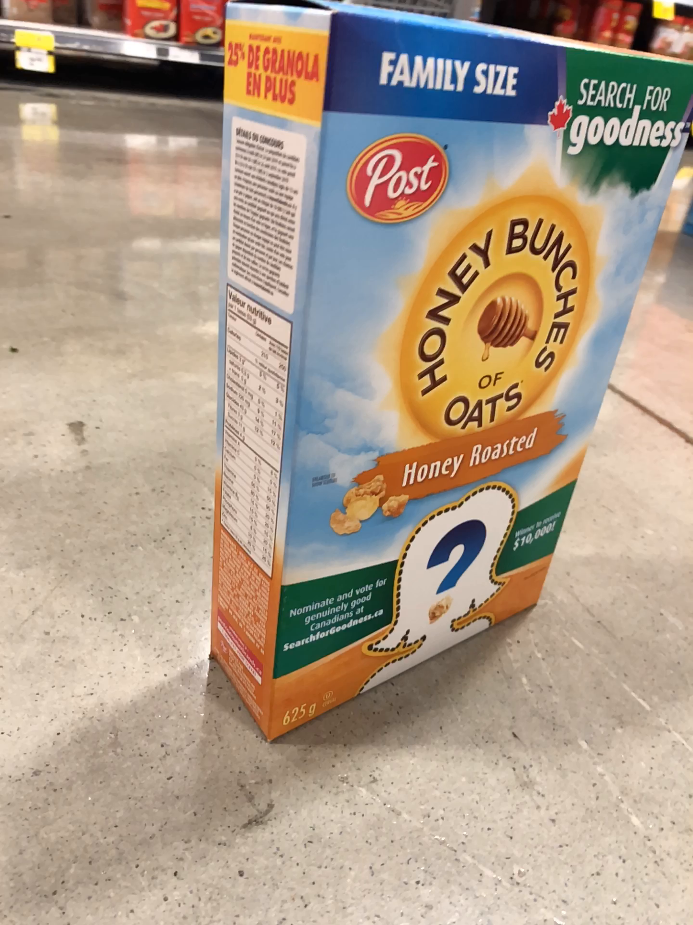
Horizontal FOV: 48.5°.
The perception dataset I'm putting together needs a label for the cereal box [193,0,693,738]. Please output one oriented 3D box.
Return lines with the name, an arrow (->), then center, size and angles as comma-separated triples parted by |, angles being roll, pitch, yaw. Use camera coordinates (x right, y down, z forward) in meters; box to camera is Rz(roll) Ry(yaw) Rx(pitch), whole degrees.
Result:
cereal box -> 0.043, -0.044, 0.368 | 0.211, 0.309, 0.070 | -16, 37, -36
